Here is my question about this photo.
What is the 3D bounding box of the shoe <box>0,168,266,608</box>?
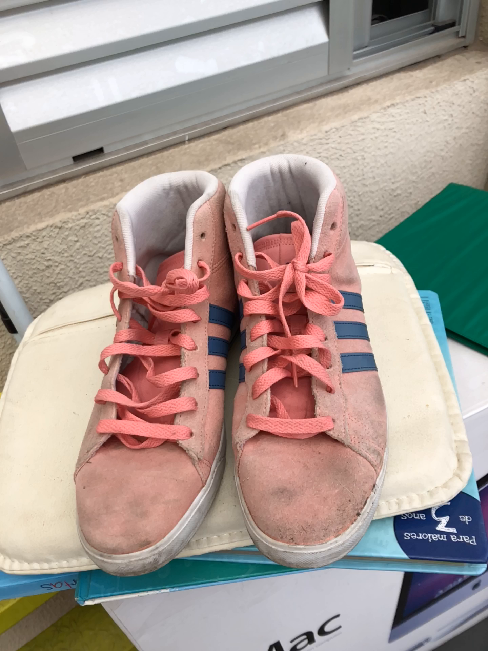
[{"bbox_3d":[-0.052,0.018,0.346,0.100,0.129,0.252,1,42,9],"label":"shoe"}]

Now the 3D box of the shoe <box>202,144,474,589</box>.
[{"bbox_3d":[0.041,0.006,0.337,0.100,0.129,0.252,-3,42,4],"label":"shoe"}]
